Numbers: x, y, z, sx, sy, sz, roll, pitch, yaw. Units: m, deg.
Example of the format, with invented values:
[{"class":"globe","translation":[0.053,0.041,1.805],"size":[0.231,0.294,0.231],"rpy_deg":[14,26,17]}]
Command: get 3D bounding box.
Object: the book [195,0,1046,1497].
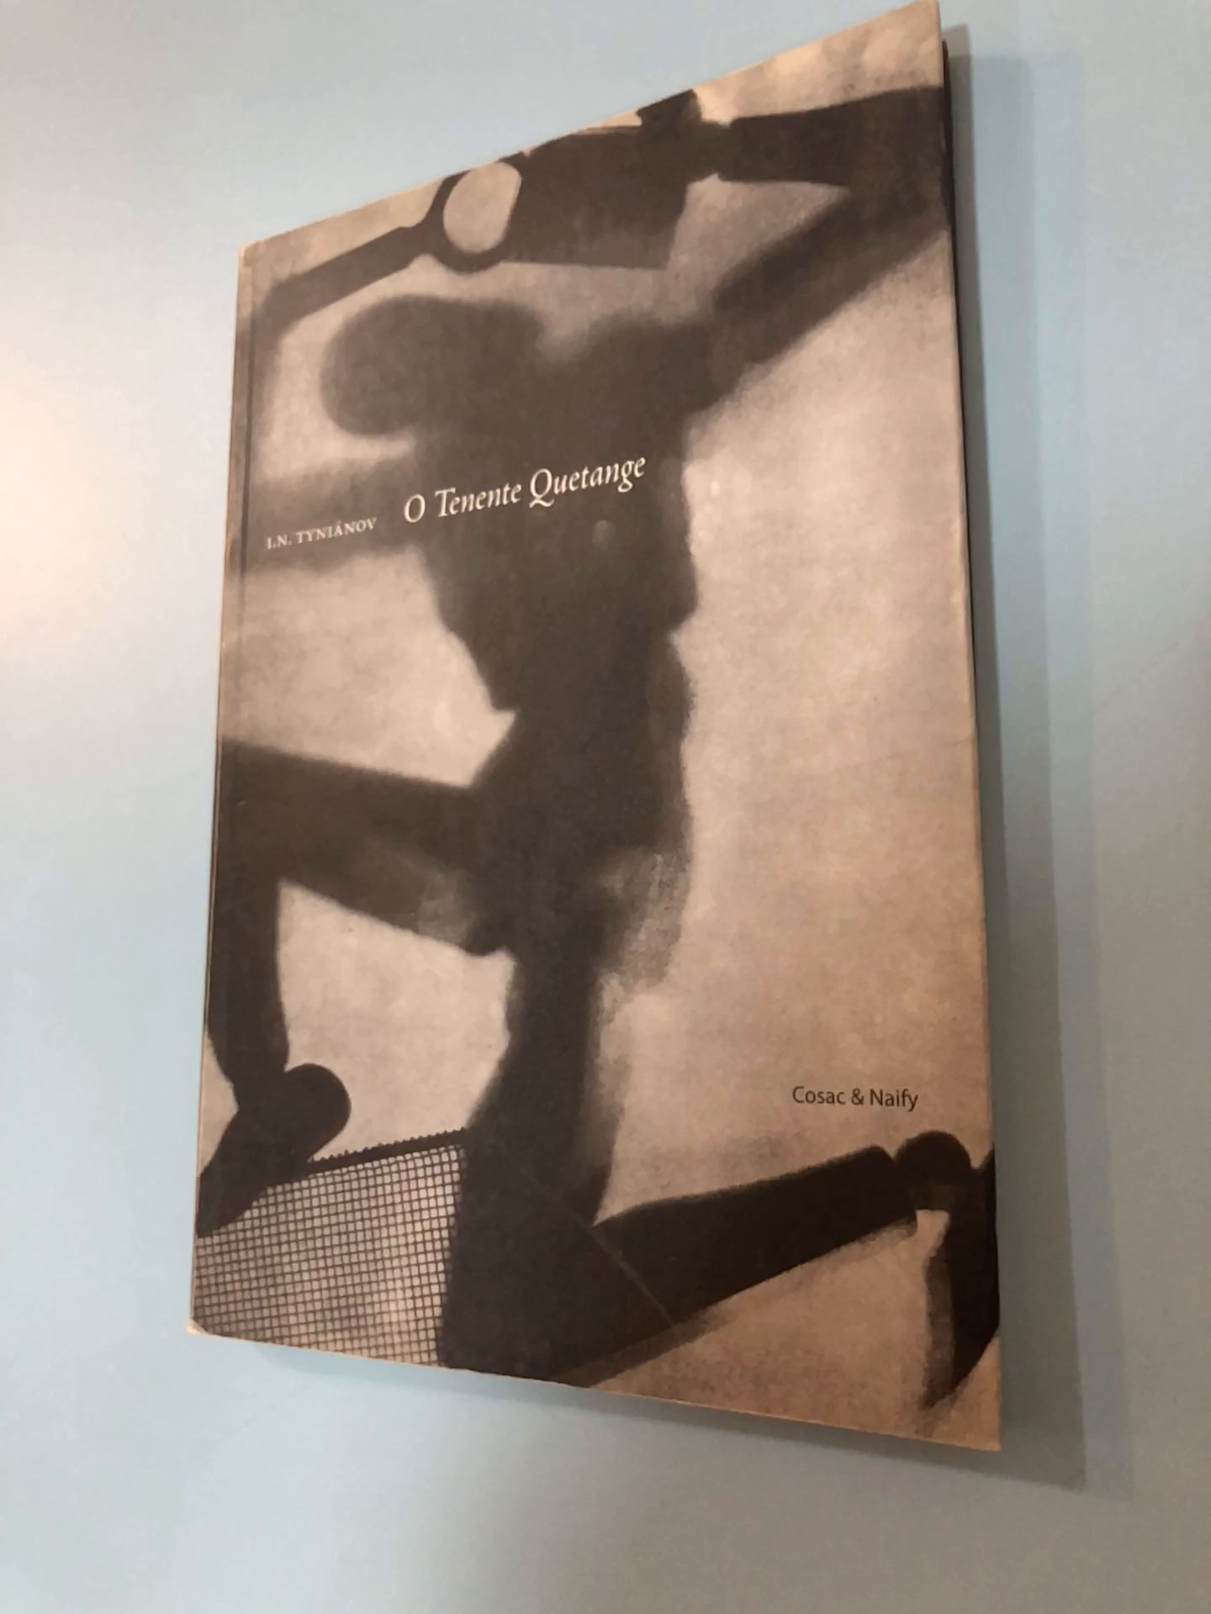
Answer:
[{"class":"book","translation":[-0.006,-0.010,0.214],"size":[0.134,0.016,0.196],"rpy_deg":[-4,82,28]}]
